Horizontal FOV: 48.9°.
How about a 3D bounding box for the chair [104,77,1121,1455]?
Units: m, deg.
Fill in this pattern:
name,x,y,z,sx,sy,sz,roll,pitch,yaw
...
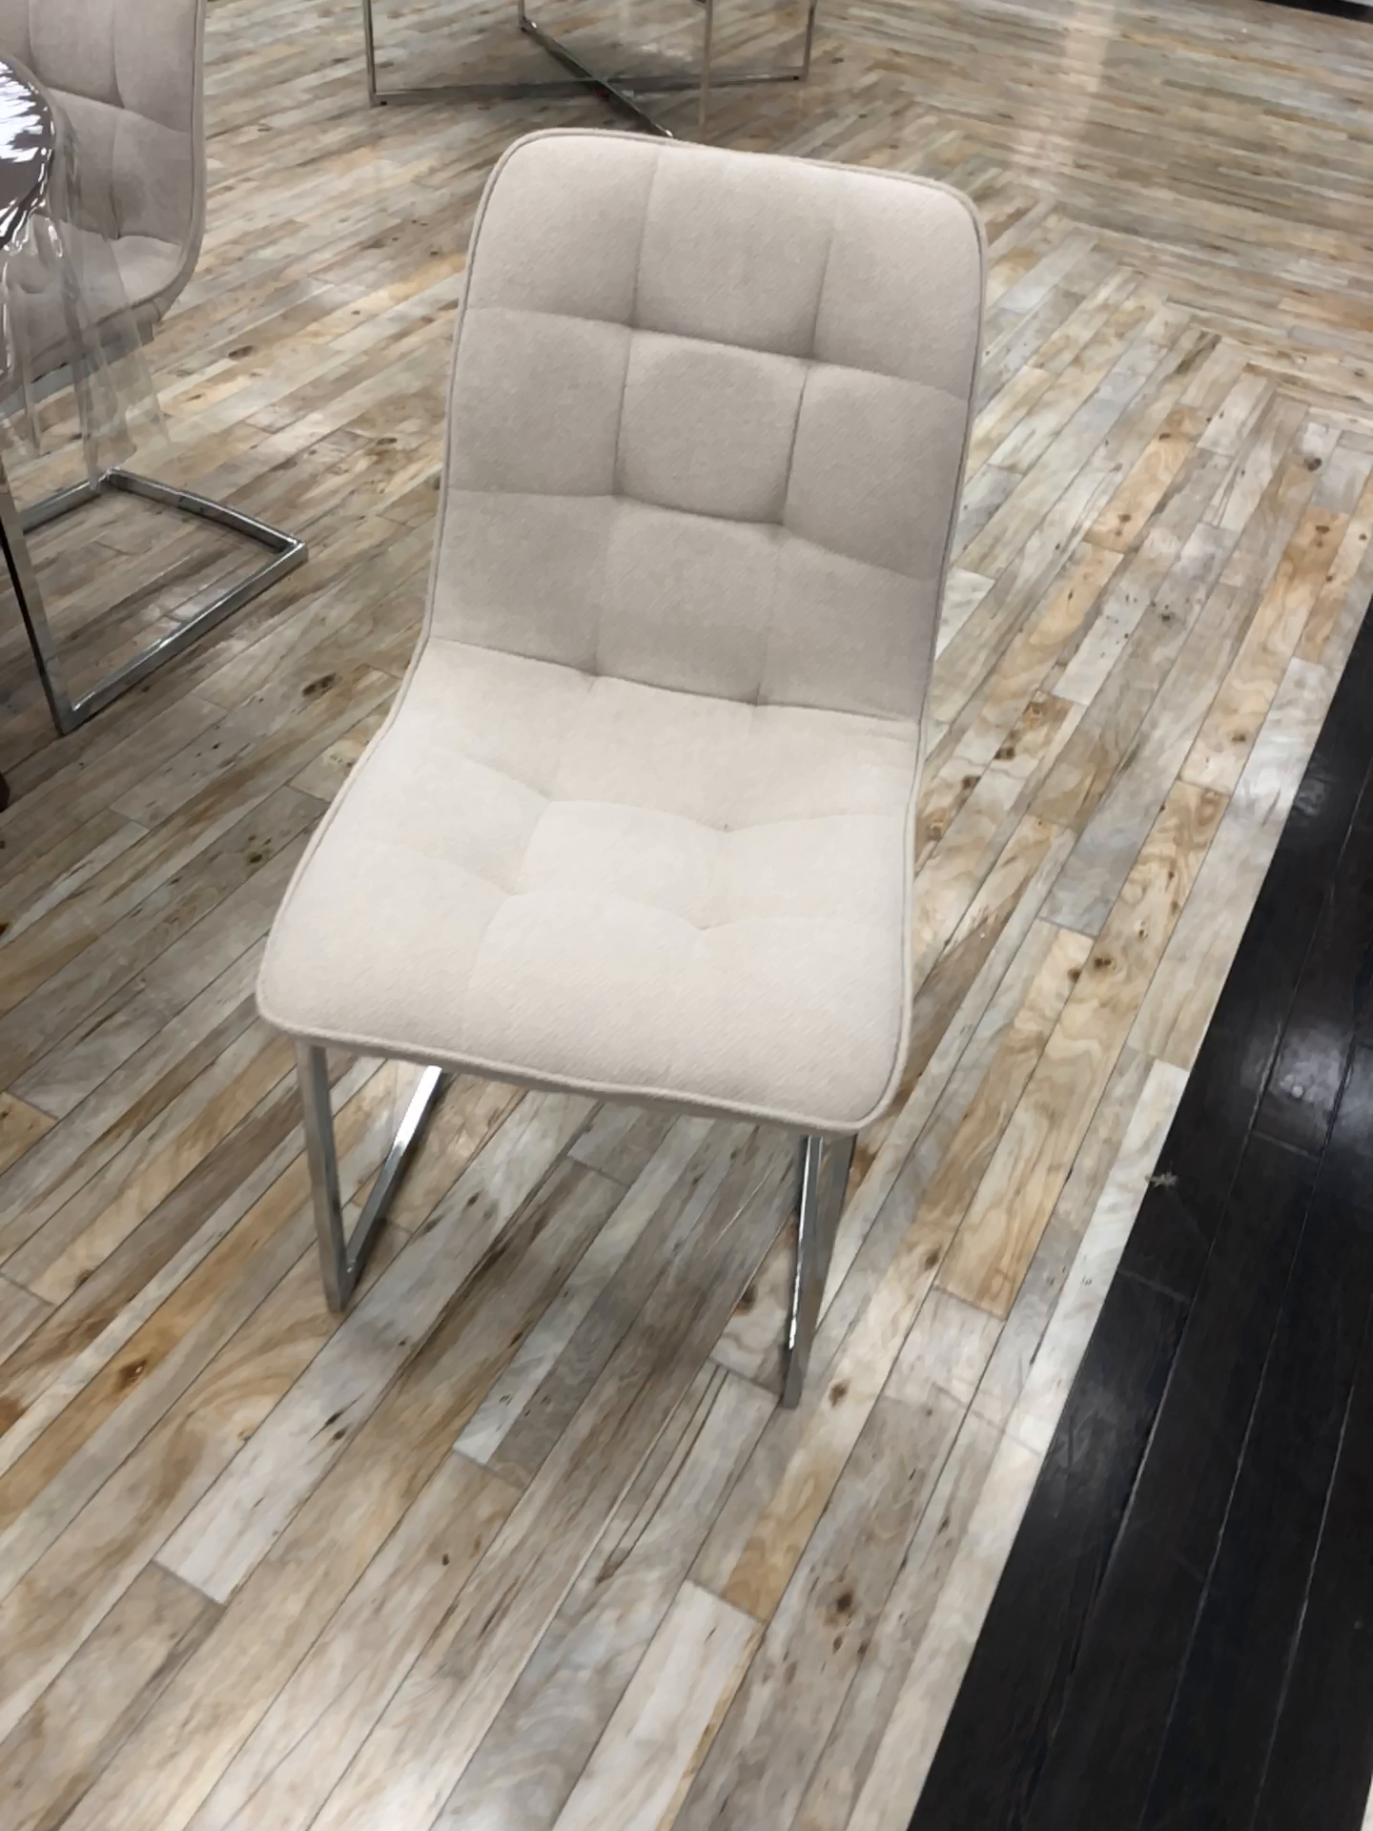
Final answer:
name,x,y,z,sx,sy,sz,roll,pitch,yaw
chair,-0.012,-0.098,1.207,0.490,0.837,0.592,11,43,6
